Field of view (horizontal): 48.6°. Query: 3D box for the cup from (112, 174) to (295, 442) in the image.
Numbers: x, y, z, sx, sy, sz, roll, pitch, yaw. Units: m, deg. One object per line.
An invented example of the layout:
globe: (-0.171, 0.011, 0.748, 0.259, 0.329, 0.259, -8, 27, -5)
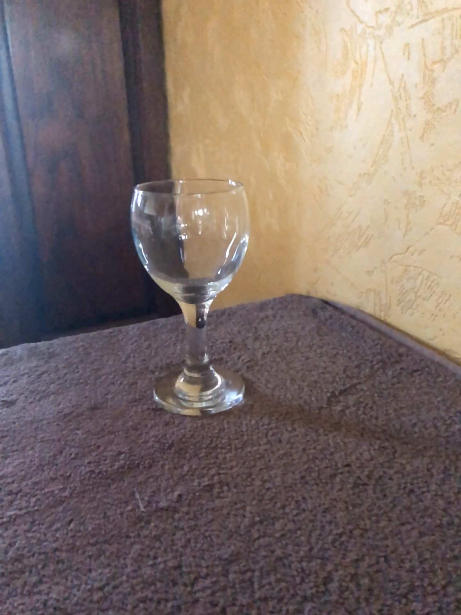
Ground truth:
cup: (-0.012, -0.006, 0.297, 0.070, 0.129, 0.070, -1, 19, 0)
